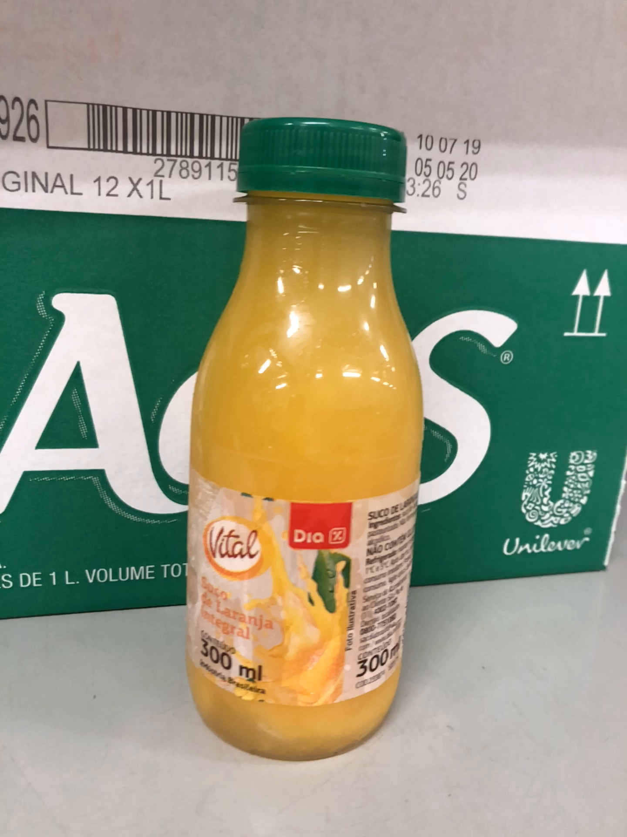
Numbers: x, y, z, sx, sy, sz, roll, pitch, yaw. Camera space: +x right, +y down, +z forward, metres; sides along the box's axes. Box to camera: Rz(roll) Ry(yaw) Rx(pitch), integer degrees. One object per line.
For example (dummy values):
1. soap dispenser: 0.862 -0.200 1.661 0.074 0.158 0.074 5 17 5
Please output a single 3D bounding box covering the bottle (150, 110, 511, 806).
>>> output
1. bottle: 0.004 0.006 0.192 0.070 0.159 0.060 9 17 22
